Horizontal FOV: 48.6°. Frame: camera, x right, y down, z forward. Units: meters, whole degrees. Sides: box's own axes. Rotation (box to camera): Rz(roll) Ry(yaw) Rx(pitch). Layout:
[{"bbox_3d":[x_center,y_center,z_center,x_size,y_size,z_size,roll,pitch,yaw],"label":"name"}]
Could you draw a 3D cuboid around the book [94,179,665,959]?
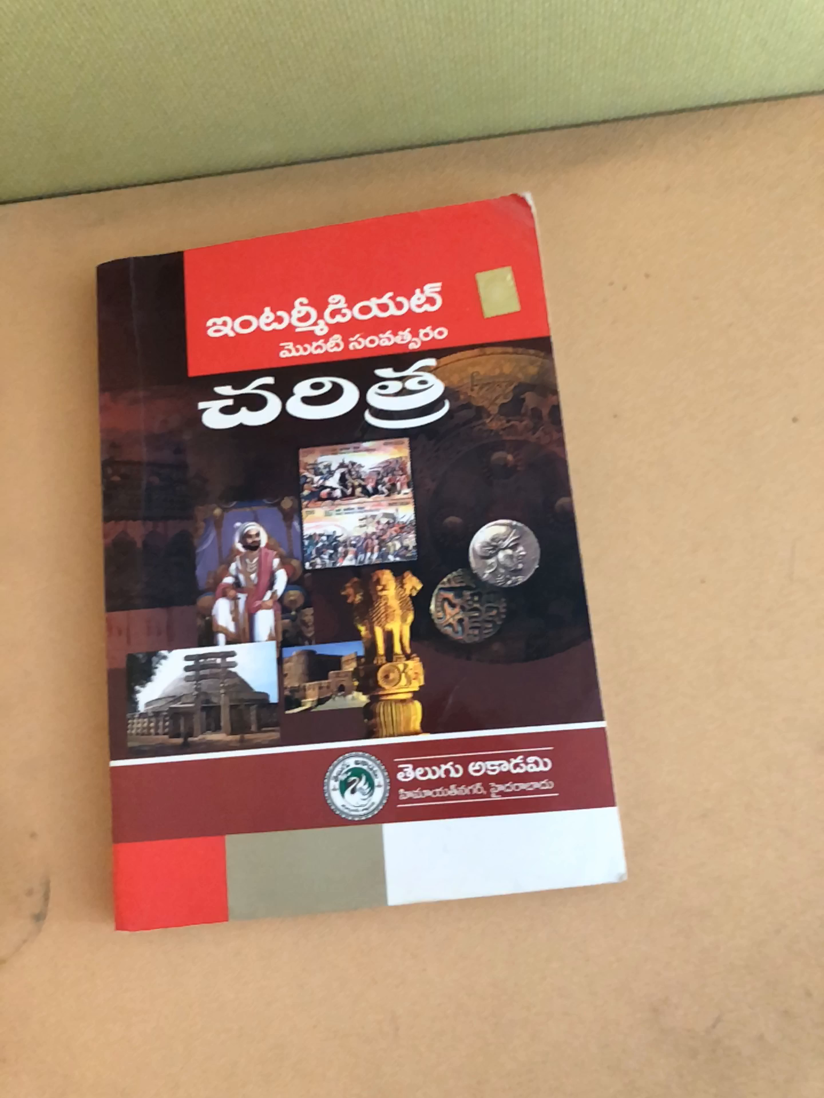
[{"bbox_3d":[-0.023,0.001,0.374,0.200,0.030,0.290,-7,78,4],"label":"book"}]
